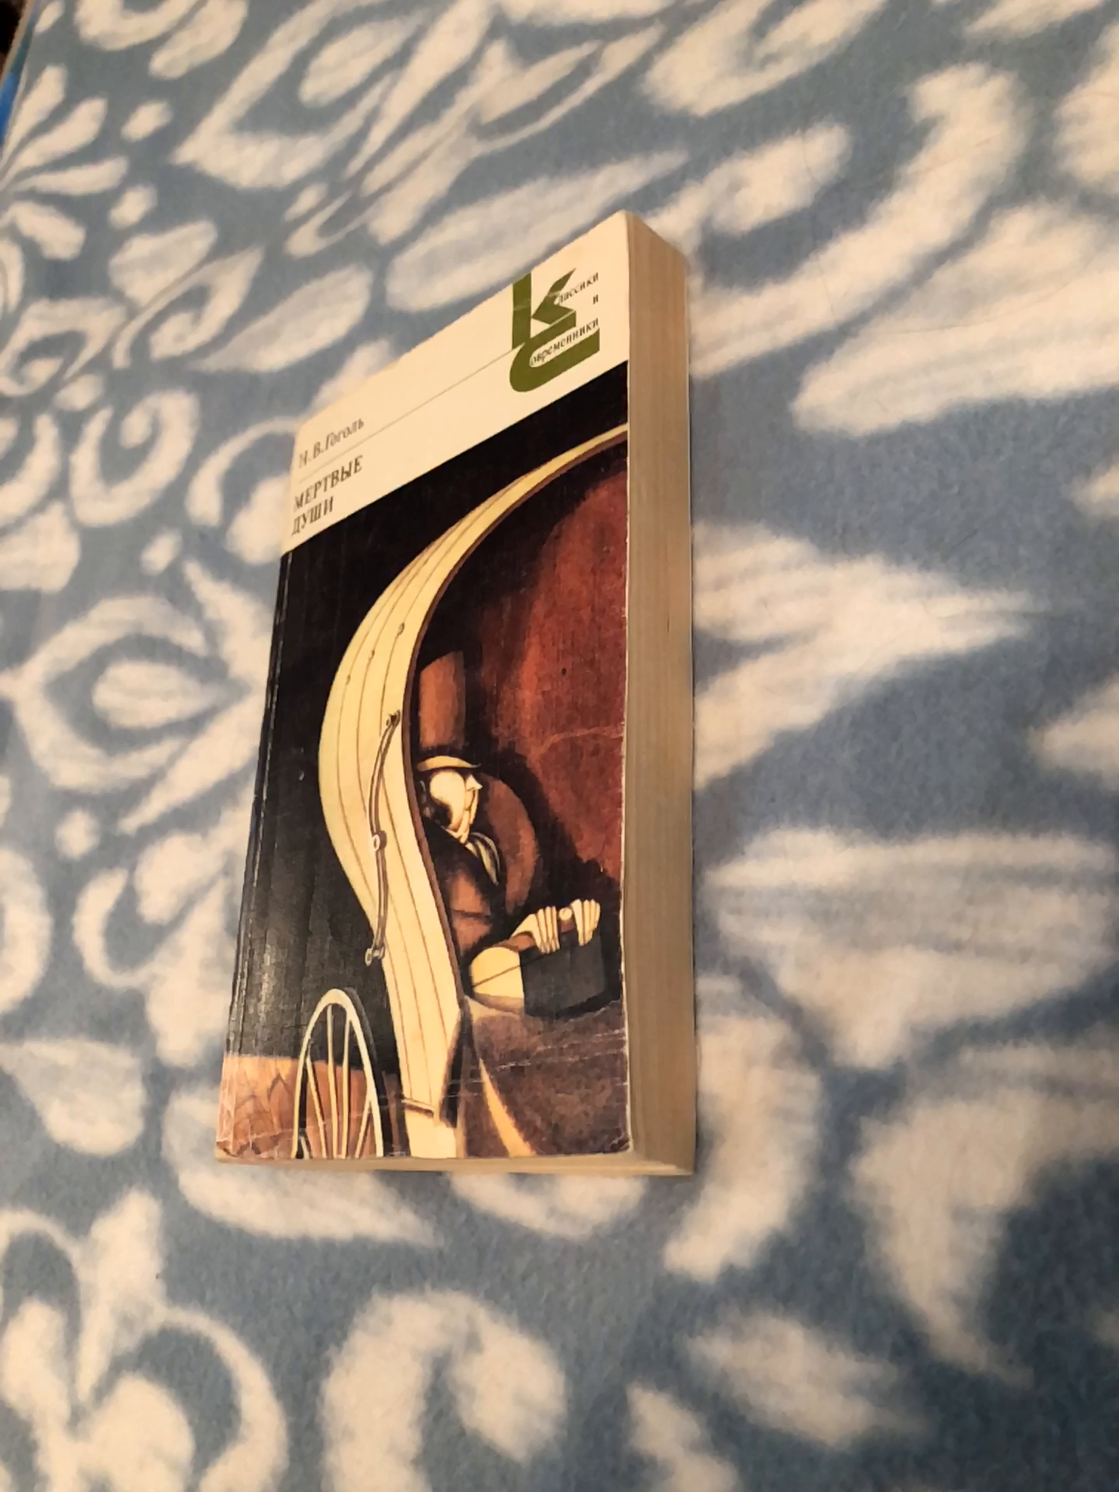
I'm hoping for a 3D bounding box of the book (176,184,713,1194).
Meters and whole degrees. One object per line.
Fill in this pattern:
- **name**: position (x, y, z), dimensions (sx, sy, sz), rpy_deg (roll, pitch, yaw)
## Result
- **book**: position (-0.027, -0.008, 0.275), dimensions (0.126, 0.025, 0.199), rpy_deg (-17, 62, 40)
